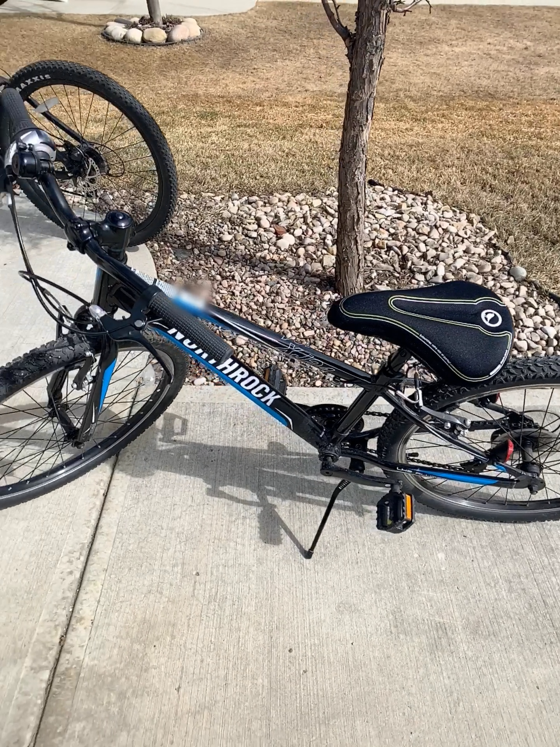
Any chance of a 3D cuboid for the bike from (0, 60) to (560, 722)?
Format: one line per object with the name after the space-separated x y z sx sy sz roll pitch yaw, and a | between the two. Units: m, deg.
0.000 0.118 0.971 1.389 0.885 0.517 -4 40 5 | bike
